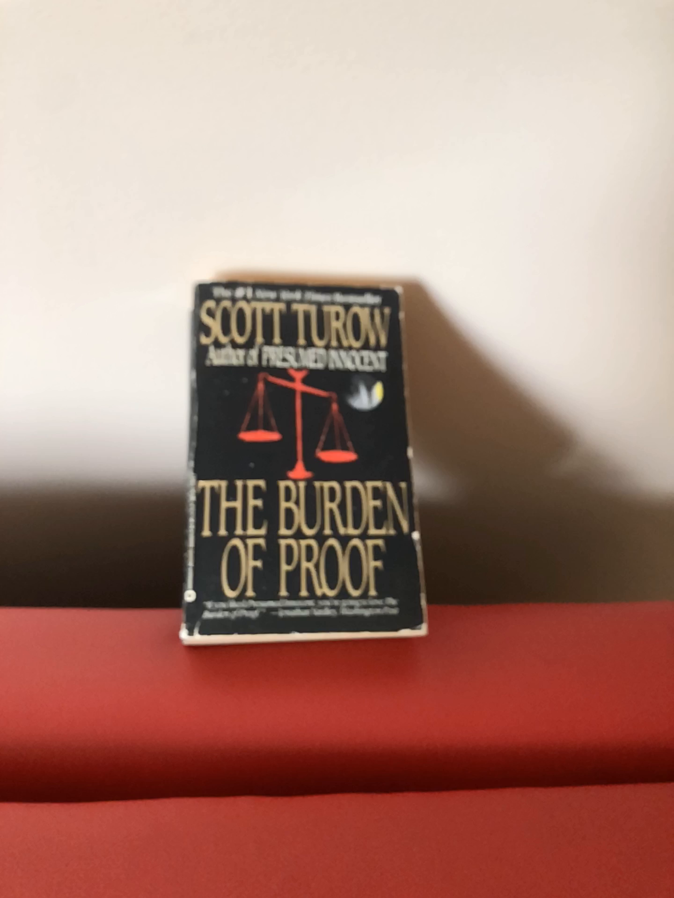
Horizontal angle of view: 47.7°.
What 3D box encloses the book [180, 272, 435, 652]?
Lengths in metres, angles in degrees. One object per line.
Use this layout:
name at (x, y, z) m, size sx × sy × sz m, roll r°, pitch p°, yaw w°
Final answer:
book at (-0.017, 0.005, 0.363) m, size 0.106 × 0.045 × 0.171 m, roll 1°, pitch 71°, yaw -9°
